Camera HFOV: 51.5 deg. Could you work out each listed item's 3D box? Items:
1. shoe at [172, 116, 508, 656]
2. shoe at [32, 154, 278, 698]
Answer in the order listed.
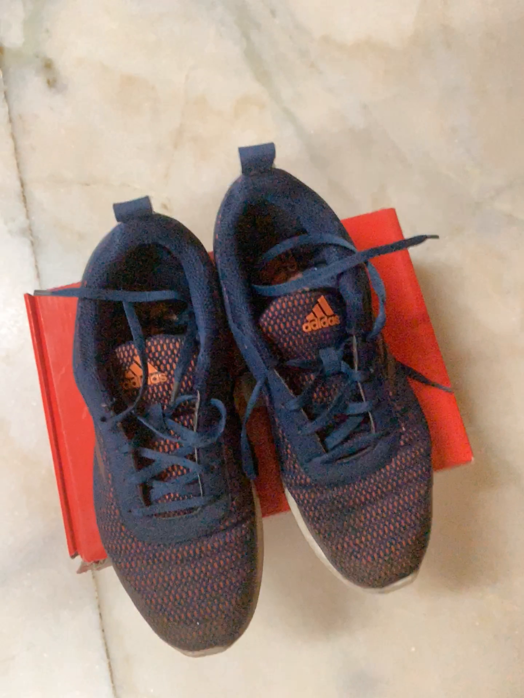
[{"bbox_3d":[0.037,0.015,0.338,0.100,0.080,0.280,-17,81,-3],"label":"shoe"},{"bbox_3d":[-0.067,0.040,0.365,0.100,0.100,0.300,-10,81,-2],"label":"shoe"}]
